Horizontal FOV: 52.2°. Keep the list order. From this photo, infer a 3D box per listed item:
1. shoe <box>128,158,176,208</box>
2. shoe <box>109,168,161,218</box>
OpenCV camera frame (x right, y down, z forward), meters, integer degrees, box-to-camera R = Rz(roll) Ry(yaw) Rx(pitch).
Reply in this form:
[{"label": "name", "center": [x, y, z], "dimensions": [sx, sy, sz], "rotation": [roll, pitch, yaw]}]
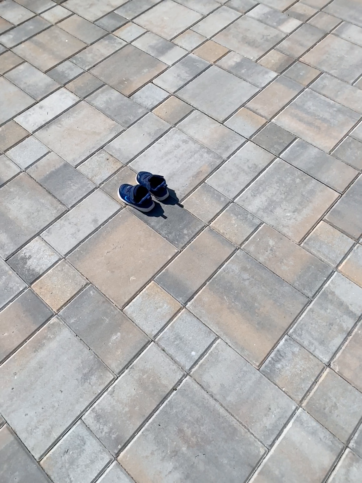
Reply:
[{"label": "shoe", "center": [-0.112, -0.234, 1.468], "dimensions": [0.170, 0.090, 0.090], "rotation": [39, 67, 21]}, {"label": "shoe", "center": [-0.172, -0.185, 1.414], "dimensions": [0.170, 0.090, 0.090], "rotation": [32, 65, 18]}]
